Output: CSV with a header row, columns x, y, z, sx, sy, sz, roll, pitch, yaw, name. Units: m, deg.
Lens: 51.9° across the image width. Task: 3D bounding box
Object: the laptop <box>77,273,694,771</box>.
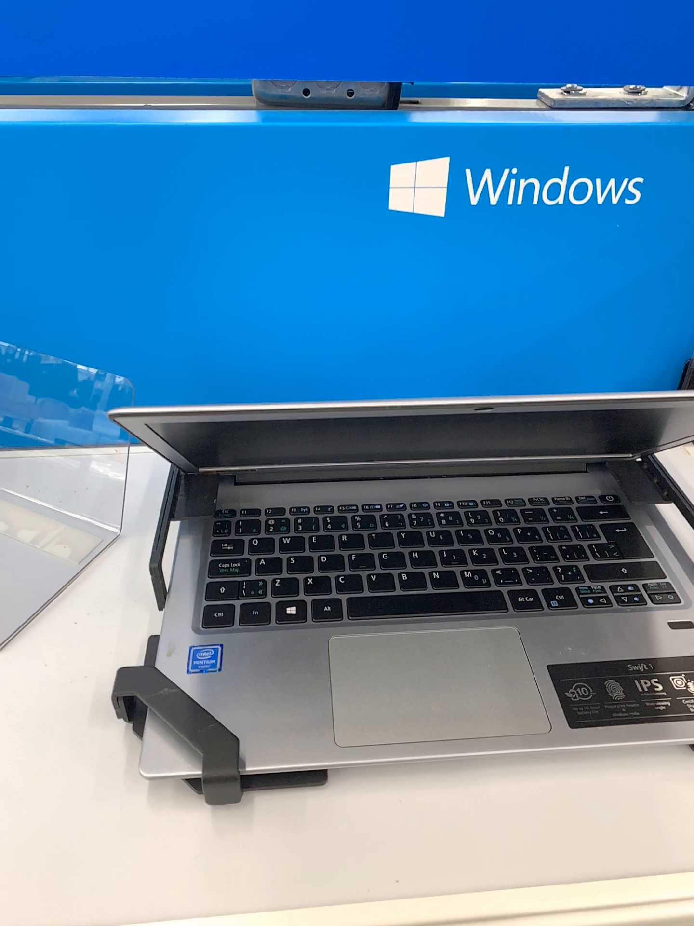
x,y,z,sx,sy,sz,roll,pitch,yaw,name
0.054,0.014,0.366,0.307,0.140,0.198,-2,38,-4,laptop
